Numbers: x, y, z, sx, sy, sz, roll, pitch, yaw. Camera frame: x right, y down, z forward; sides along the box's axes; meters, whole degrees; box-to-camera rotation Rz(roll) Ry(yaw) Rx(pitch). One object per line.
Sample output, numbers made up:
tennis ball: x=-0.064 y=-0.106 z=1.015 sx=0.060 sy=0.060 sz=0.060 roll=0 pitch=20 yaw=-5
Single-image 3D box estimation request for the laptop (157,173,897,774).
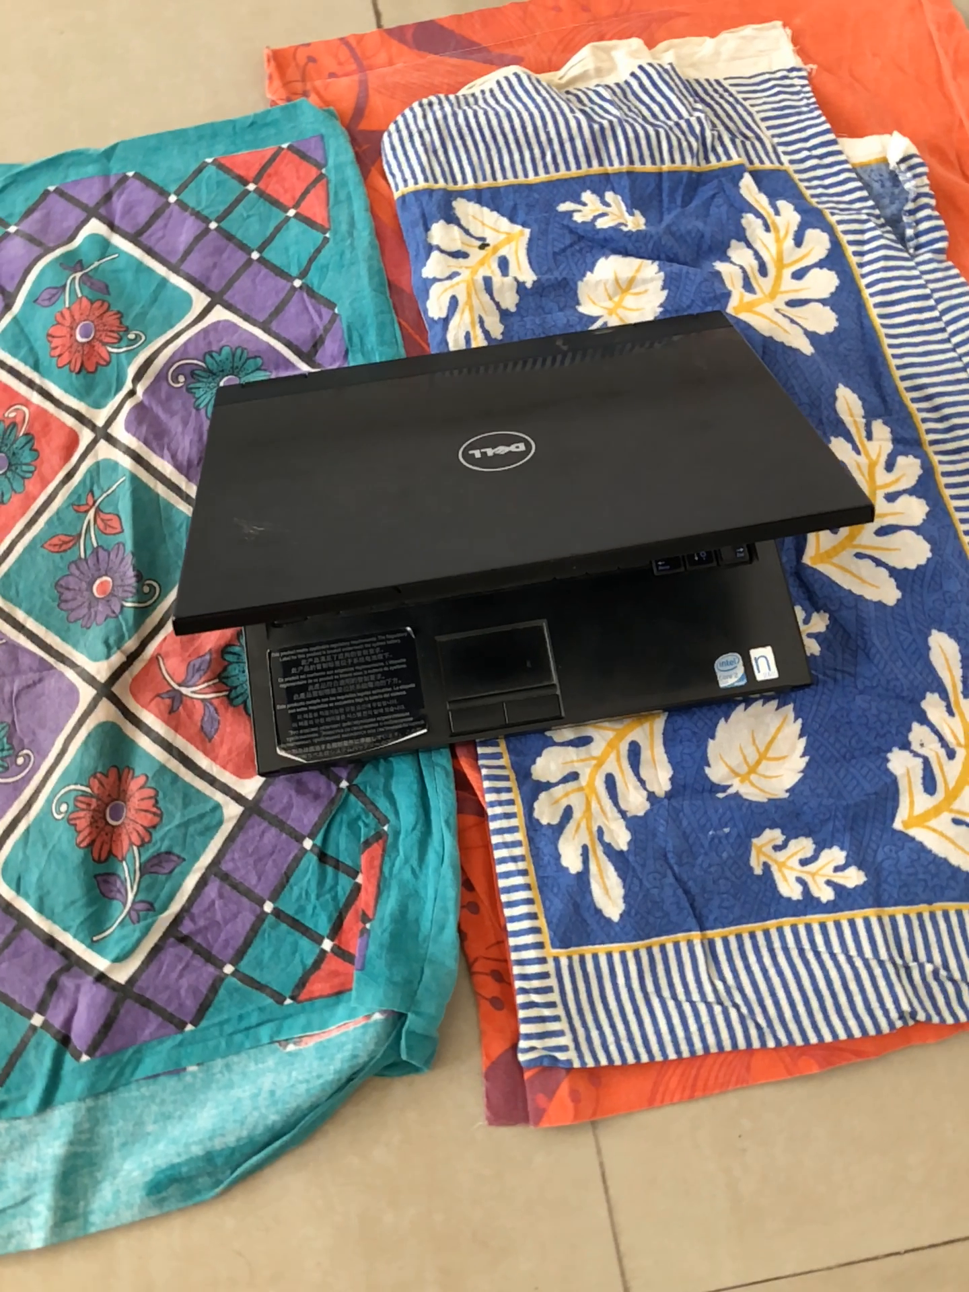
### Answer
laptop: x=0.009 y=-0.083 z=0.553 sx=0.298 sy=0.144 sz=0.235 roll=-9 pitch=70 yaw=-2
